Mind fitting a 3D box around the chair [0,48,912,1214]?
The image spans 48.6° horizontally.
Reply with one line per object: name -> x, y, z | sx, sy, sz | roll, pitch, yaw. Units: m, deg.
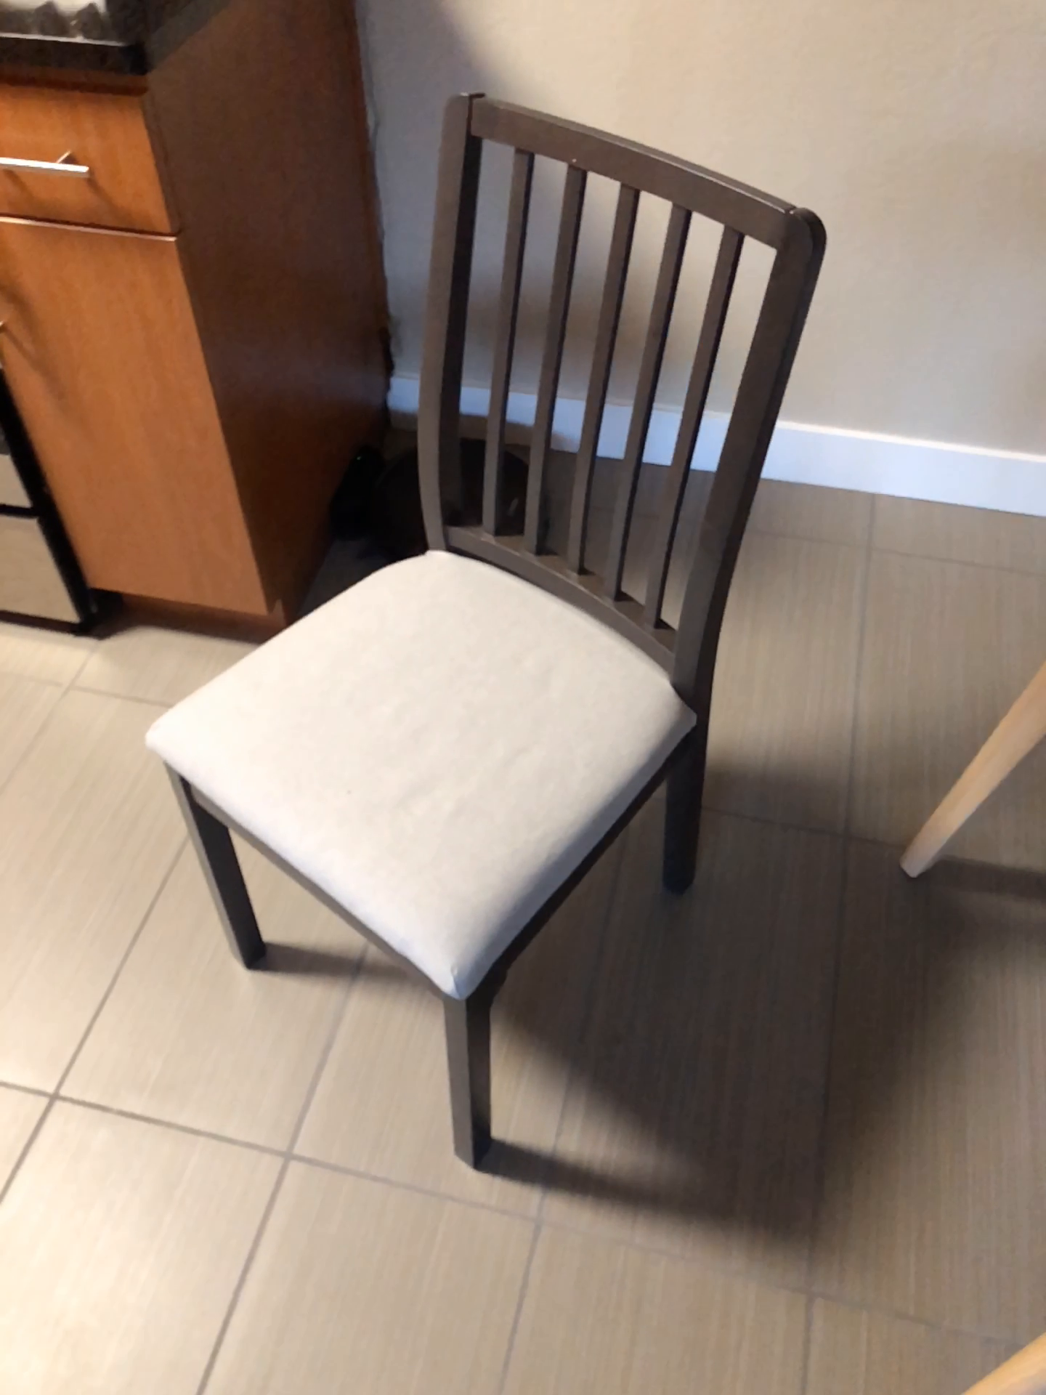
chair -> -0.054, 0.020, 1.286 | 0.481, 1.125, 0.511 | 36, 58, 28
